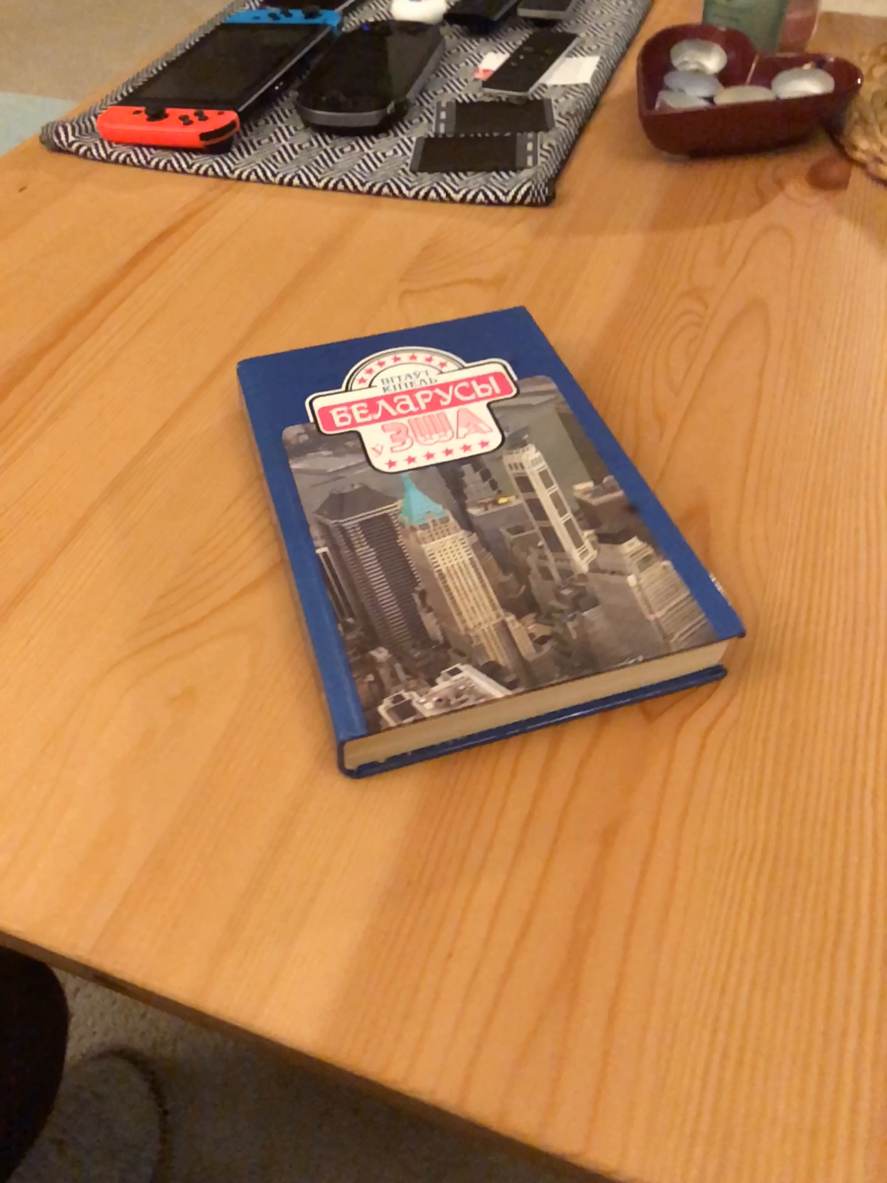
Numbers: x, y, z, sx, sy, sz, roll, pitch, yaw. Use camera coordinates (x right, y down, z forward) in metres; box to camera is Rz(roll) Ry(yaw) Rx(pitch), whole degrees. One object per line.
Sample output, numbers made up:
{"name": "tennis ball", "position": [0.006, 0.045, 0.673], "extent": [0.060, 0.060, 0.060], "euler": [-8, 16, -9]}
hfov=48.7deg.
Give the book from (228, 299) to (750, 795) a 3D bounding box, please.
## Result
{"name": "book", "position": [0.003, -0.038, 0.405], "extent": [0.146, 0.030, 0.225], "euler": [-14, 49, -10]}
